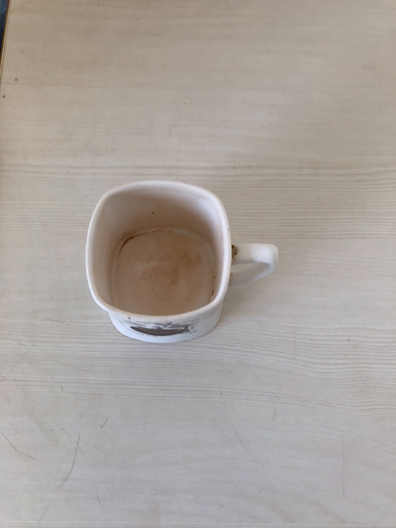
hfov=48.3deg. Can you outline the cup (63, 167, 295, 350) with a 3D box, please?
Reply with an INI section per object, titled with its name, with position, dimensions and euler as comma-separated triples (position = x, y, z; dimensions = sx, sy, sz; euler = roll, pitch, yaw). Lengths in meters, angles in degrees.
[cup]
position = -0.009, 0.002, 0.215
dimensions = 0.090, 0.070, 0.070
euler = -1, 74, -2
